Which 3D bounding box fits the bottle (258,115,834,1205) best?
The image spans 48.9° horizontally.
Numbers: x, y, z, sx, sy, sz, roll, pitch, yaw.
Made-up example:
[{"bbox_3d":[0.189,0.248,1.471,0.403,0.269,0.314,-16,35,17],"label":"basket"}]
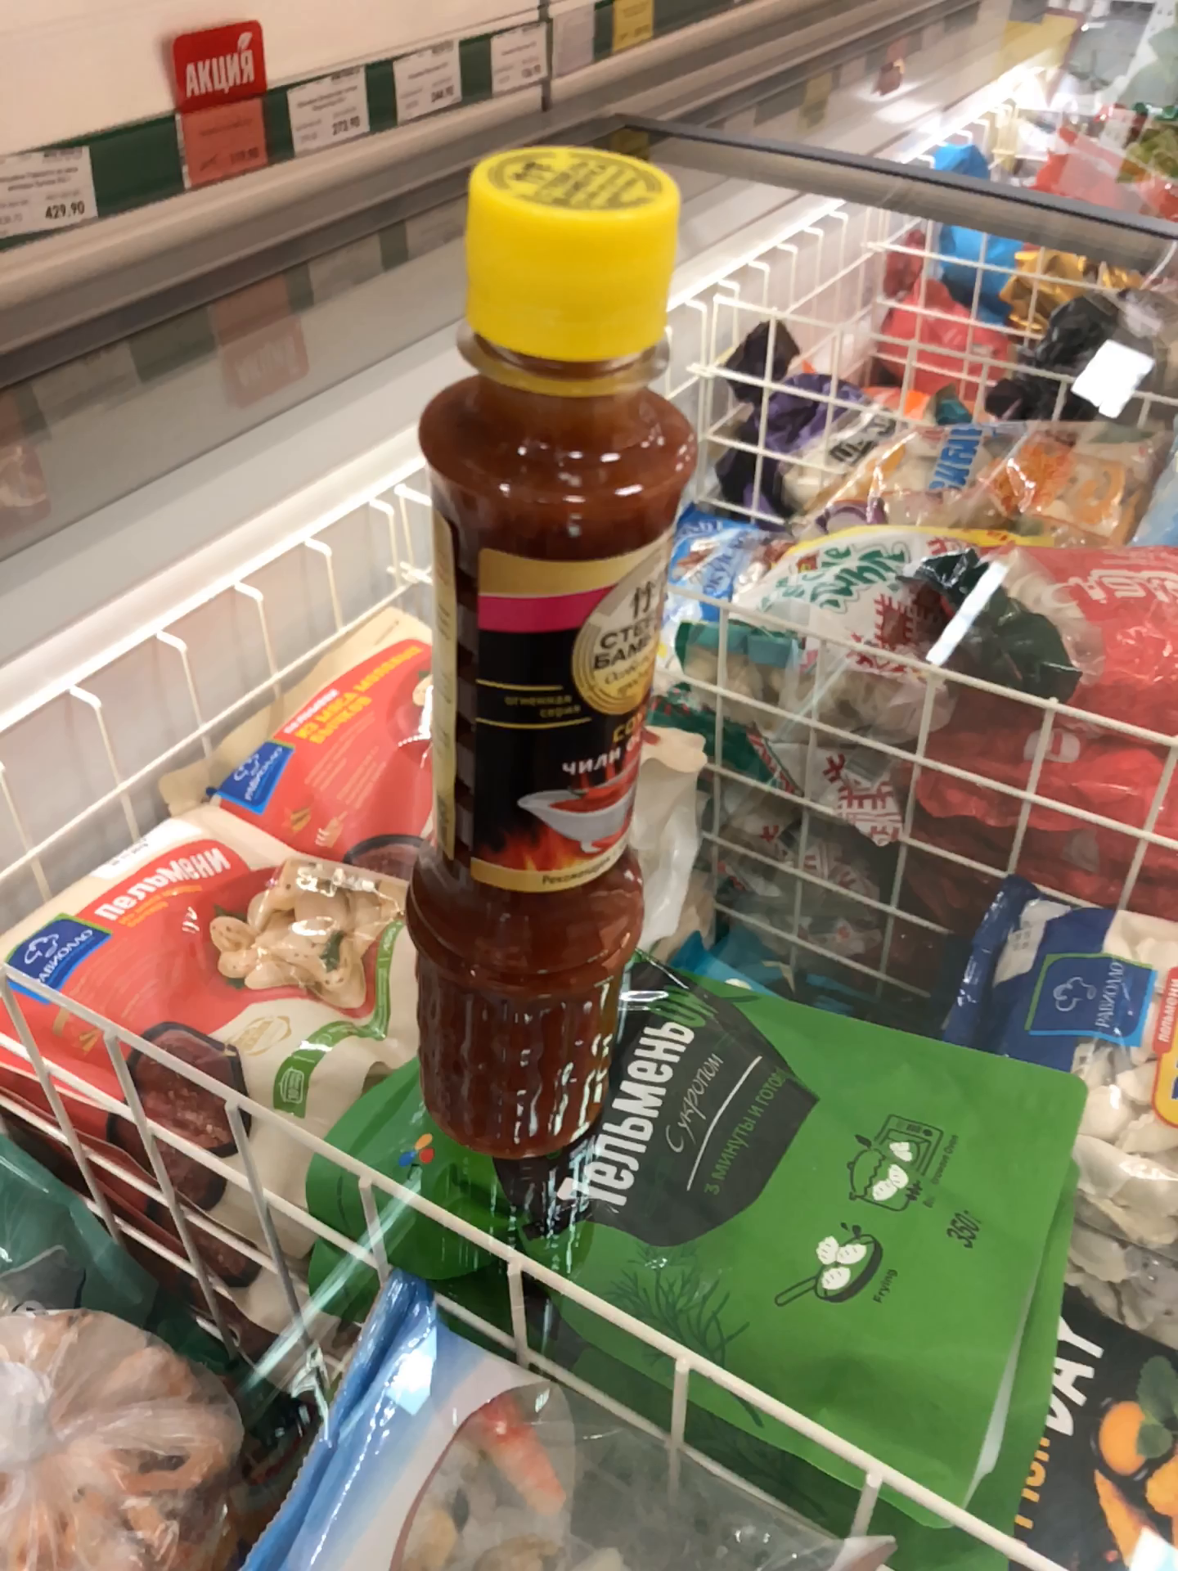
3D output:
[{"bbox_3d":[-0.008,-0.010,0.252,0.060,0.199,0.060,2,41,-2],"label":"bottle"}]
